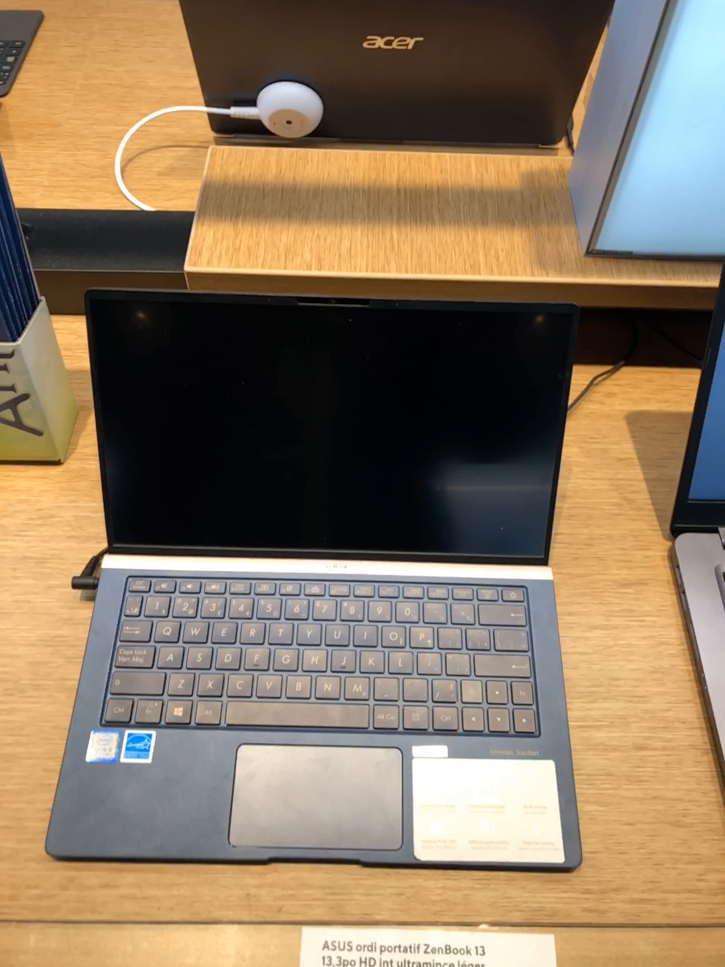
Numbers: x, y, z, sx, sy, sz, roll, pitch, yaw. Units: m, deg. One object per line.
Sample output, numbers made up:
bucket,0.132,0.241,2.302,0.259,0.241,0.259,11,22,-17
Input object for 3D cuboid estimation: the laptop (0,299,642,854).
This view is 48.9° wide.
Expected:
laptop,-0.014,0.048,0.457,0.276,0.130,0.277,2,60,1
